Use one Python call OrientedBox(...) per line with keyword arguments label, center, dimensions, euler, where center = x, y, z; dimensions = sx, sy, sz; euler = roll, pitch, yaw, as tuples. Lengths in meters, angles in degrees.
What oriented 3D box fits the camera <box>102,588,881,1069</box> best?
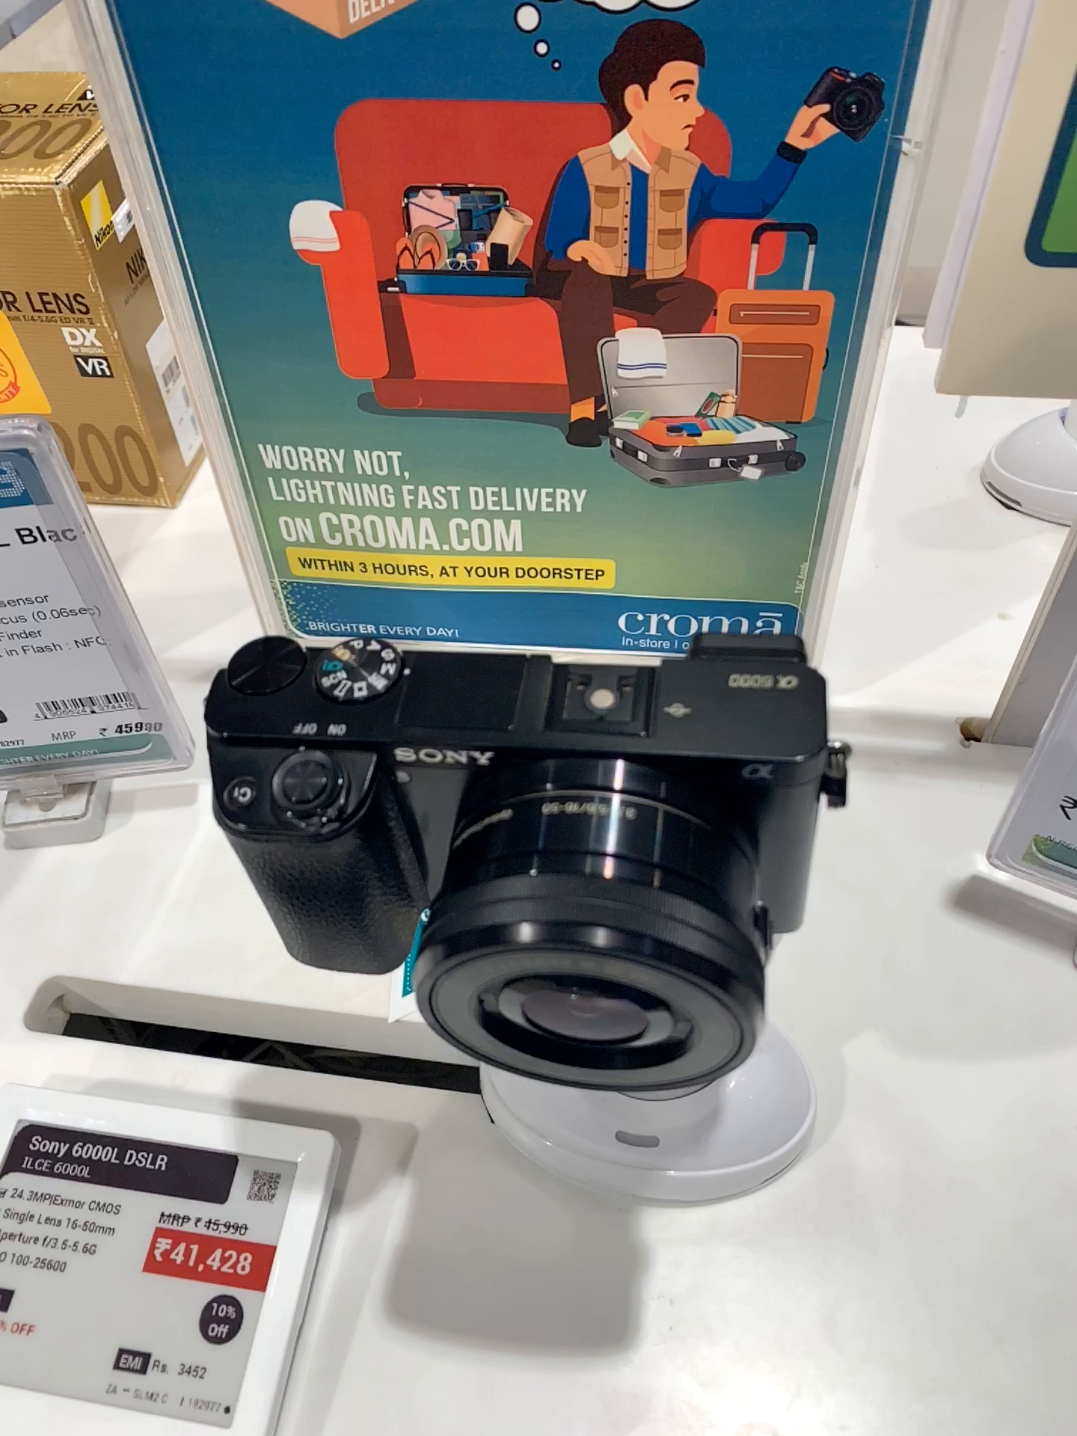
OrientedBox(label="camera", center=(-0.005, 0.022, 0.212), dimensions=(0.118, 0.073, 0.056), euler=(1, 49, 4))
